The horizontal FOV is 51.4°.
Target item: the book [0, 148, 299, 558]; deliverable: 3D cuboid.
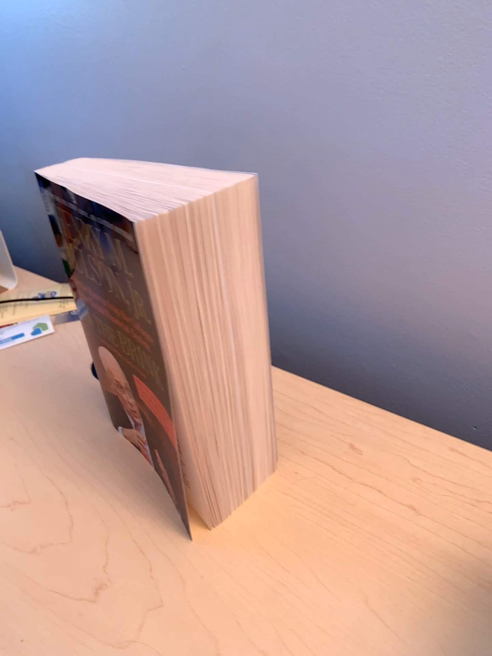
[{"bbox_3d":[-0.059,0.009,0.352,0.168,0.228,0.082,22,40,40],"label":"book"}]
